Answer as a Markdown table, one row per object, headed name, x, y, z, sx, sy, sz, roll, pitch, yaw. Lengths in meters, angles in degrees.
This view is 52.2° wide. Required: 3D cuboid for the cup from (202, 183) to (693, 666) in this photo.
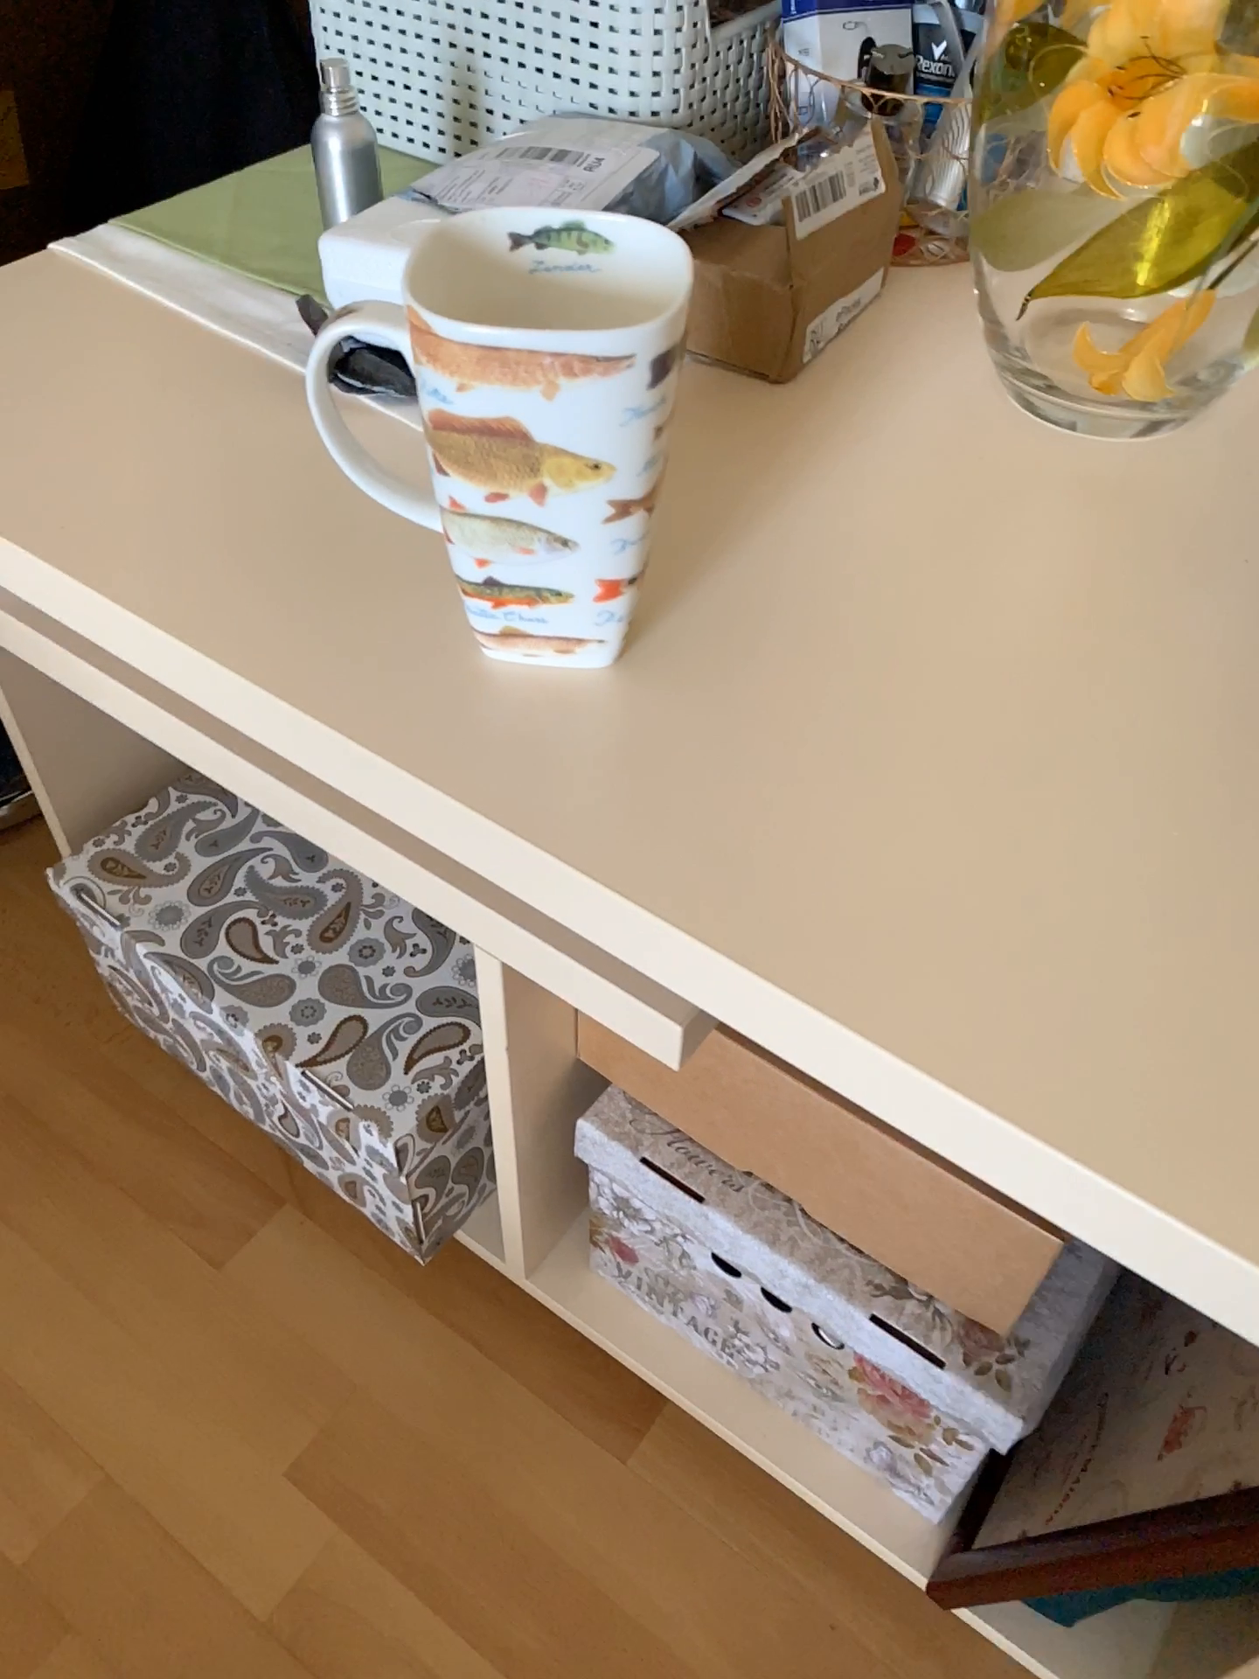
| name | x | y | z | sx | sy | sz | roll | pitch | yaw |
| --- | --- | --- | --- | --- | --- | --- | --- | --- | --- |
| cup | -0.052 | -0.140 | 0.442 | 0.138 | 0.121 | 0.092 | 3 | 47 | 1 |
